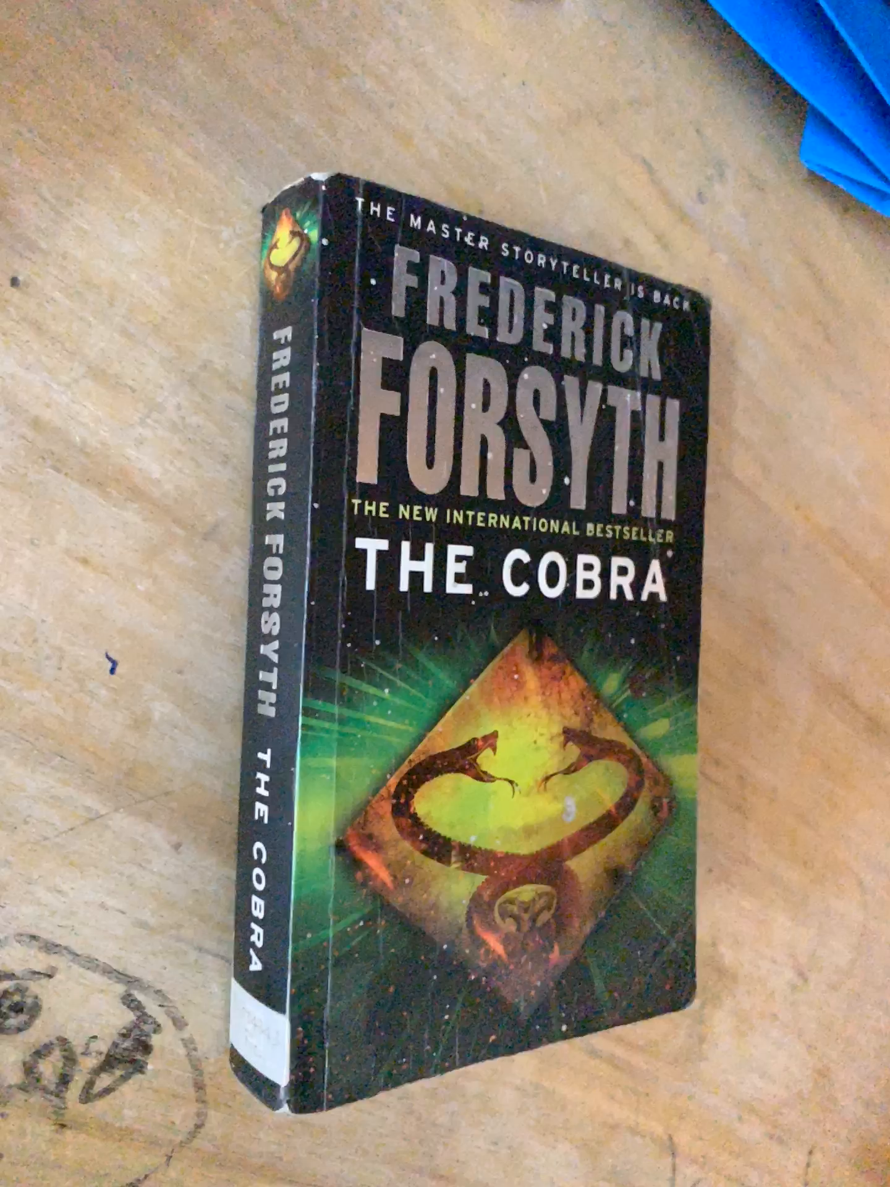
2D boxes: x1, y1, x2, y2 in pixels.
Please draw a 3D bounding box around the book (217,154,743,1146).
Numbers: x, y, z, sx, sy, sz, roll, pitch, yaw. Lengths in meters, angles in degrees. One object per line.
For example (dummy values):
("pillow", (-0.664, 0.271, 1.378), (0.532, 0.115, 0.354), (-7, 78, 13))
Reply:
("book", (0.011, 0.010, 0.196), (0.100, 0.040, 0.160), (2, 90, -34))
